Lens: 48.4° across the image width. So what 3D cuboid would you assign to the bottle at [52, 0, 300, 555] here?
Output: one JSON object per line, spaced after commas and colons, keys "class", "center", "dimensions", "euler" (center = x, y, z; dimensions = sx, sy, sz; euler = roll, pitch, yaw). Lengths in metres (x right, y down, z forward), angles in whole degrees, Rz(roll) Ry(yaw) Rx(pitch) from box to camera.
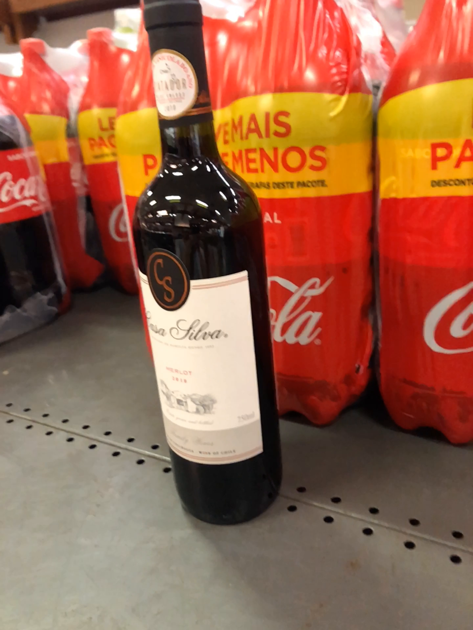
{"class": "bottle", "center": [-0.020, -0.015, 0.308], "dimensions": [0.080, 0.308, 0.070], "euler": [7, 25, 28]}
